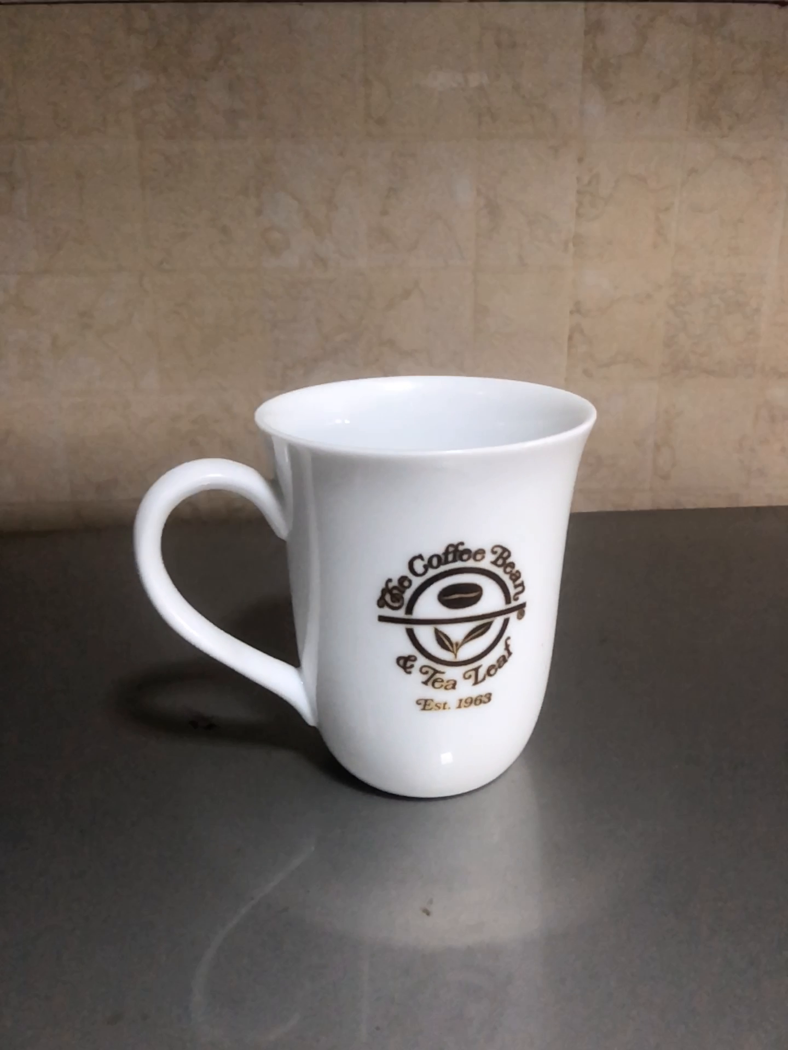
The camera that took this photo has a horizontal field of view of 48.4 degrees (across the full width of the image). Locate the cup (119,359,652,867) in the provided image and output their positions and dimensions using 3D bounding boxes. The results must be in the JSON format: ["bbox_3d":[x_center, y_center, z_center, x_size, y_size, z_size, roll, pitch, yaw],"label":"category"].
[{"bbox_3d":[-0.009,0.015,0.265,0.130,0.109,0.090,-6,20,-15],"label":"cup"}]
